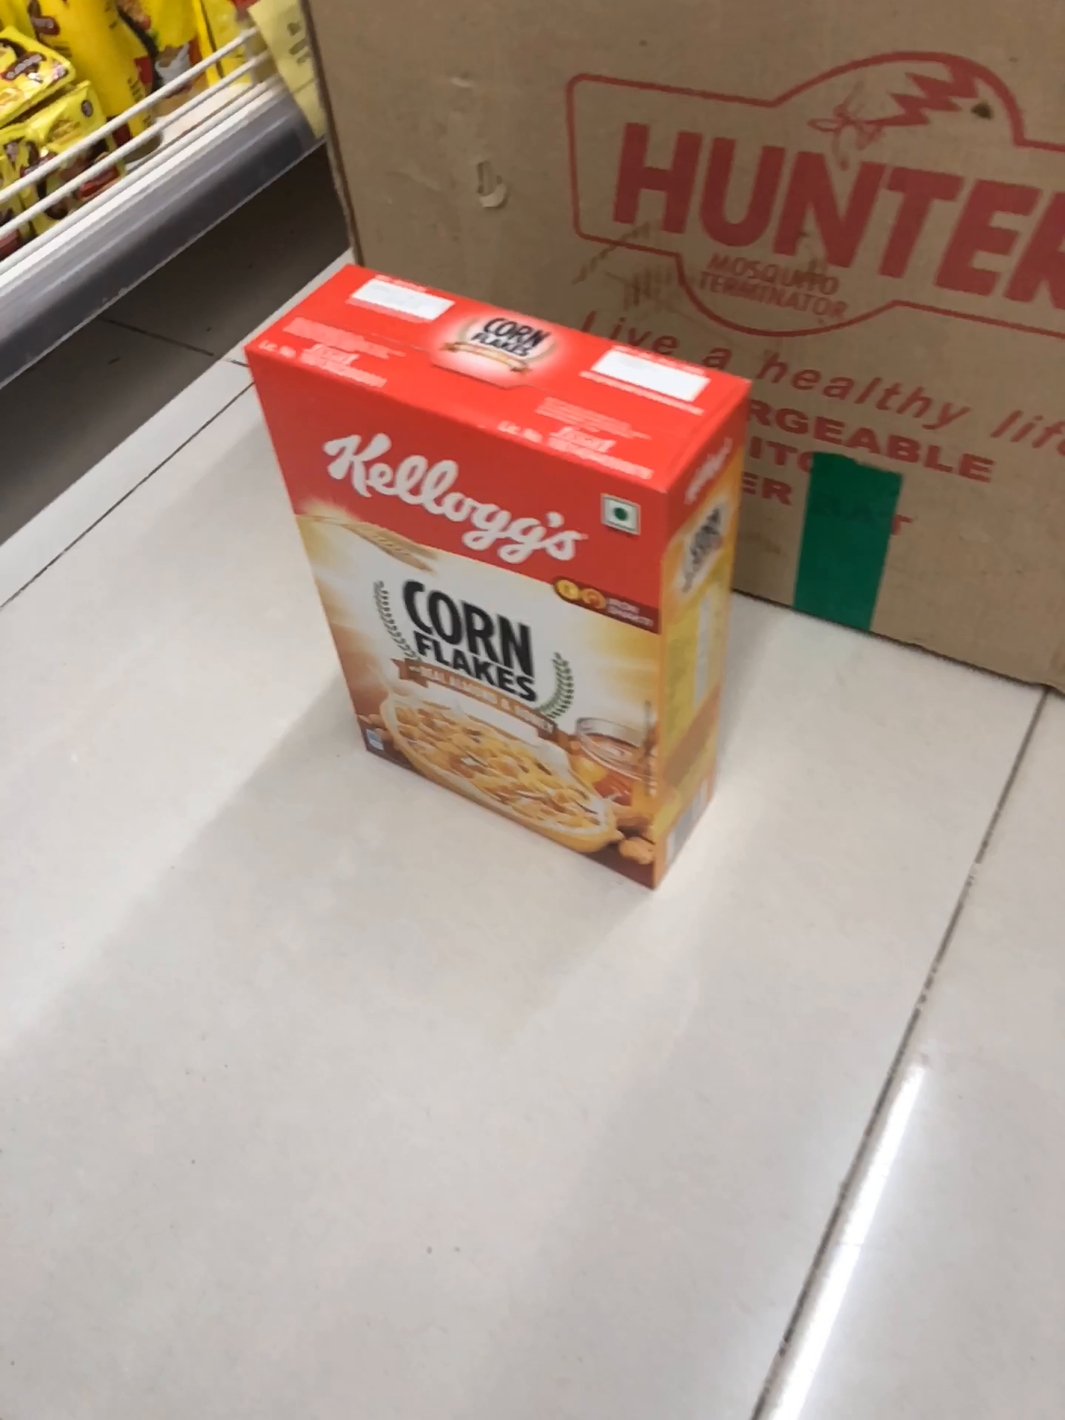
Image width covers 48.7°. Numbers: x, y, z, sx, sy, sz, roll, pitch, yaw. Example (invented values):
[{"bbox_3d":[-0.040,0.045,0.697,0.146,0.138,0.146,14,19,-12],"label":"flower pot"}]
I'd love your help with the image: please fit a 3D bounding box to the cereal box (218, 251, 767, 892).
[{"bbox_3d":[-0.010,-0.051,0.541,0.200,0.259,0.070,24,58,22],"label":"cereal box"}]
